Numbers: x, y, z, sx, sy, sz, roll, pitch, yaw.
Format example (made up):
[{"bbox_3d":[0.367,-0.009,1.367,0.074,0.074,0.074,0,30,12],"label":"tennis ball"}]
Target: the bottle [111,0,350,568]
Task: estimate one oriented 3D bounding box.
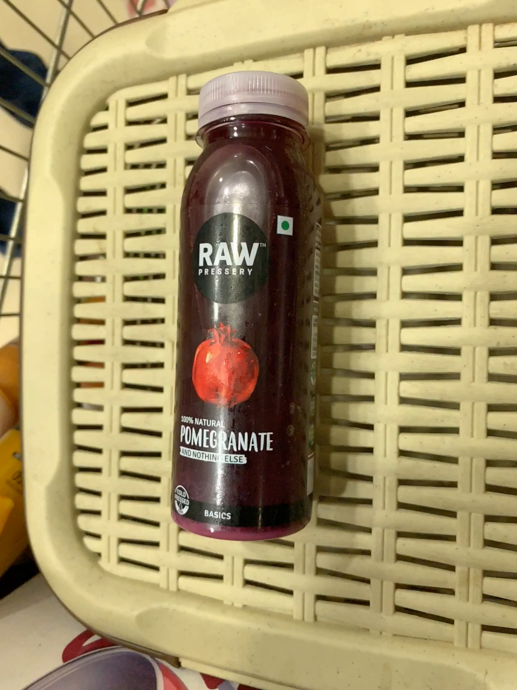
[{"bbox_3d":[-0.007,-0.019,0.182,0.060,0.050,0.160,3,92,18],"label":"bottle"}]
